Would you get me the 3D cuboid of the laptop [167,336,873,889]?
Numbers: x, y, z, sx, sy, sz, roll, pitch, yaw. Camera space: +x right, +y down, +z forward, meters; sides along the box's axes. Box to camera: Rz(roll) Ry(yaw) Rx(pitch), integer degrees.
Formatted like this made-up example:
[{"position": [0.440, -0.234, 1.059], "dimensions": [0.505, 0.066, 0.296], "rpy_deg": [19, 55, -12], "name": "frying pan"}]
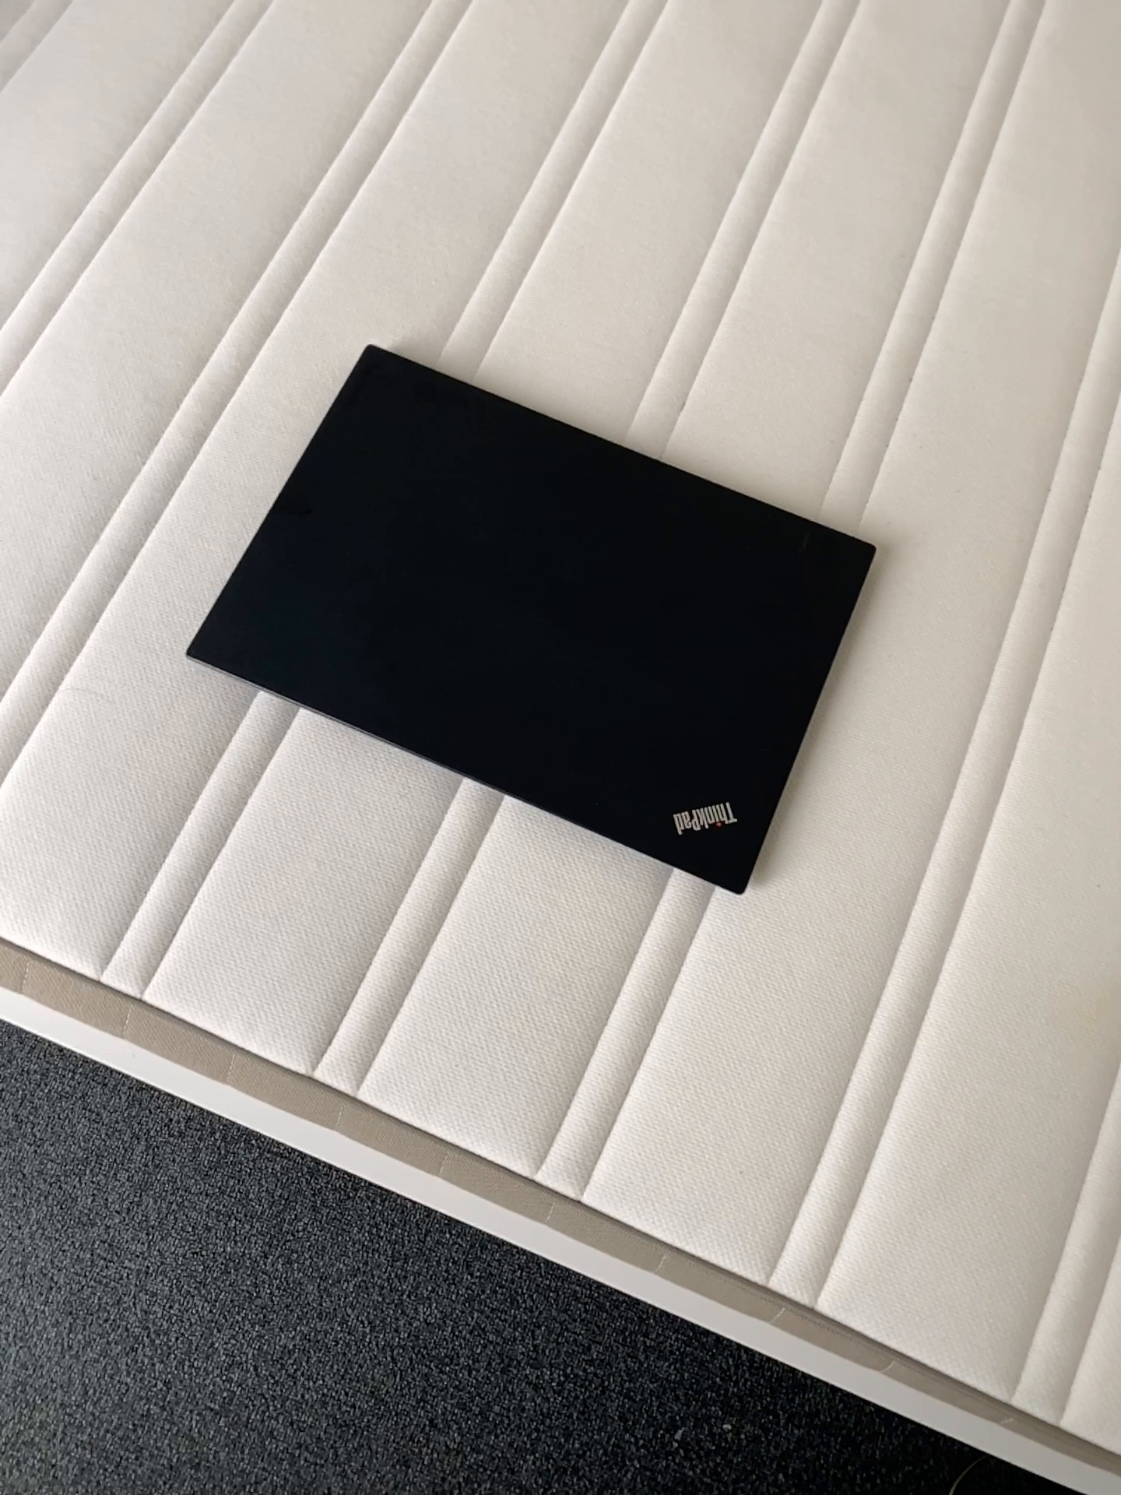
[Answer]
[{"position": [-0.014, -0.087, 0.638], "dimensions": [0.325, 0.012, 0.226], "rpy_deg": [23, 69, 5], "name": "laptop"}]
